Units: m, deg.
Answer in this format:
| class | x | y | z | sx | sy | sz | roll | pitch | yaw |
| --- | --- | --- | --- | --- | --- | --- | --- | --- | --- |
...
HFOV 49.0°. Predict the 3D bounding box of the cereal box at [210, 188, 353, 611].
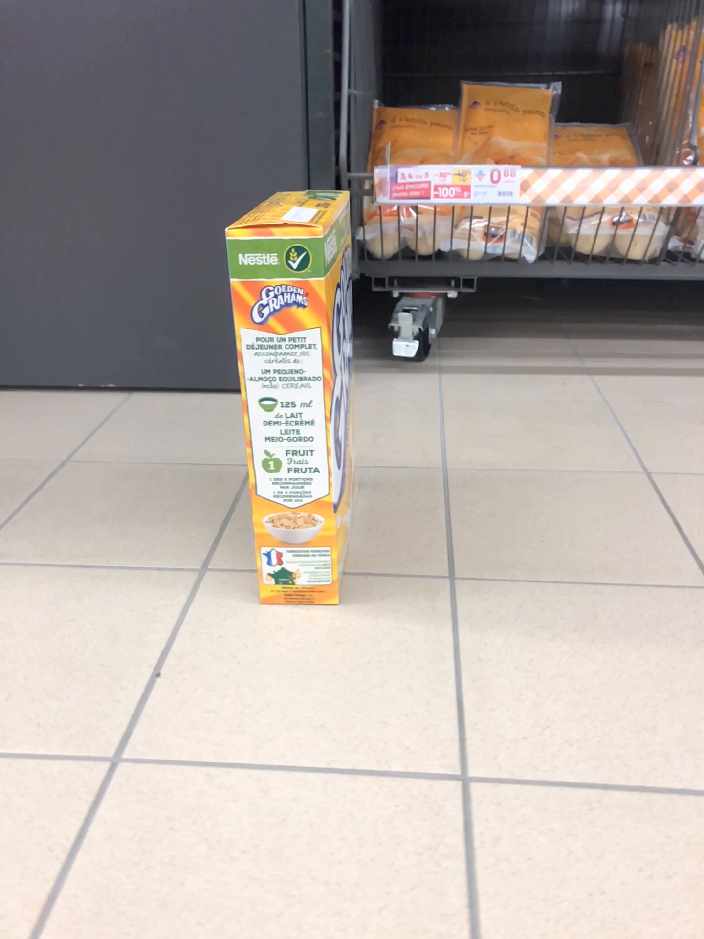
| class | x | y | z | sx | sy | sz | roll | pitch | yaw |
| --- | --- | --- | --- | --- | --- | --- | --- | --- | --- |
| cereal box | -0.041 | -0.063 | 0.596 | 0.070 | 0.268 | 0.201 | 2 | 26 | 3 |
